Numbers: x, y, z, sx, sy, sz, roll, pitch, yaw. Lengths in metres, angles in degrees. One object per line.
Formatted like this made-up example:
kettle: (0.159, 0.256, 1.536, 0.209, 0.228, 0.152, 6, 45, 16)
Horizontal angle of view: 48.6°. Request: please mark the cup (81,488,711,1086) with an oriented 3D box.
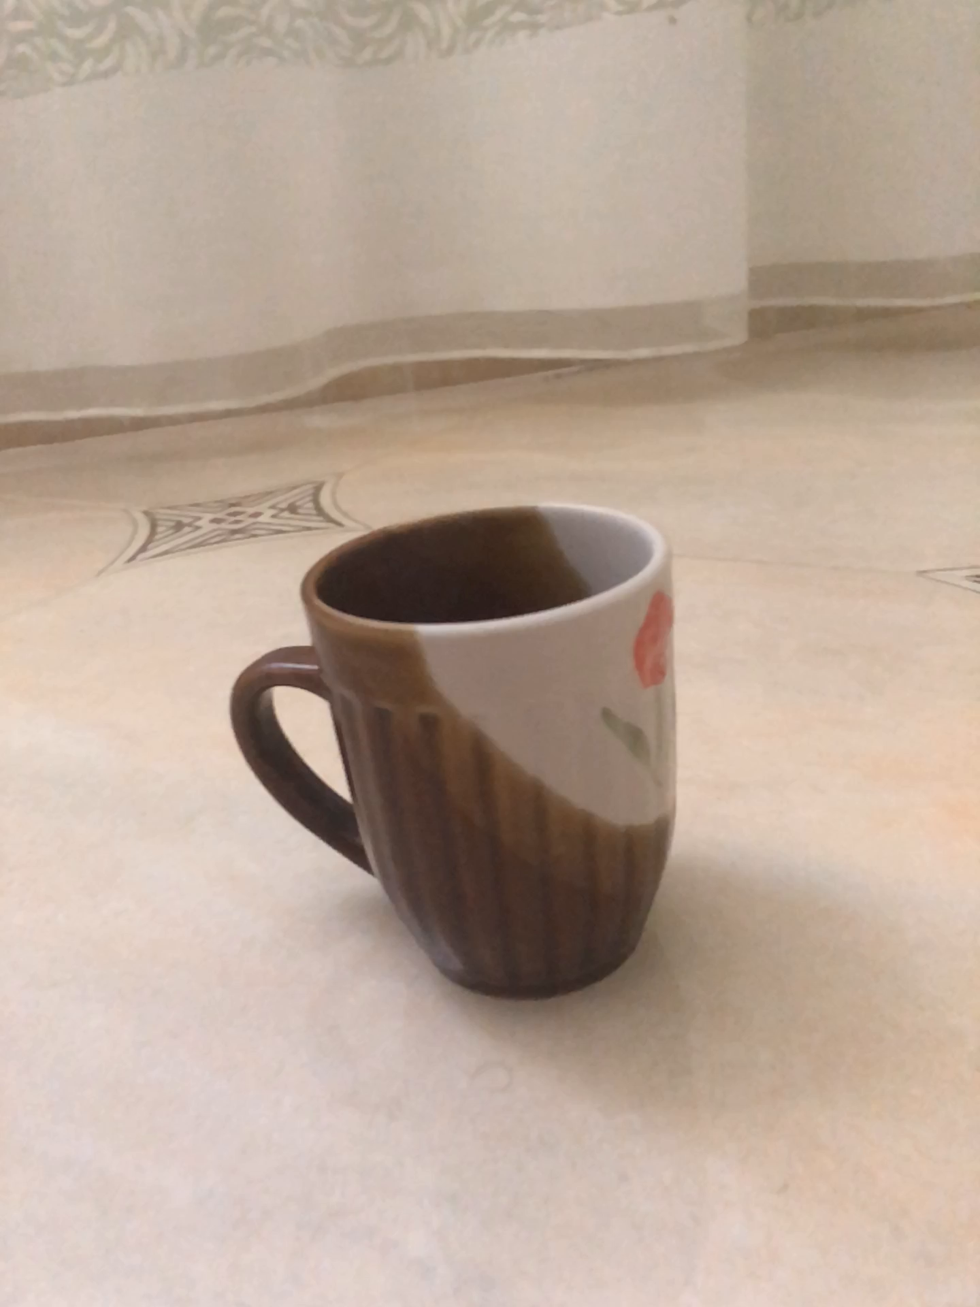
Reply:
cup: (-0.016, 0.018, 0.240, 0.104, 0.086, 0.076, 9, 28, 34)
